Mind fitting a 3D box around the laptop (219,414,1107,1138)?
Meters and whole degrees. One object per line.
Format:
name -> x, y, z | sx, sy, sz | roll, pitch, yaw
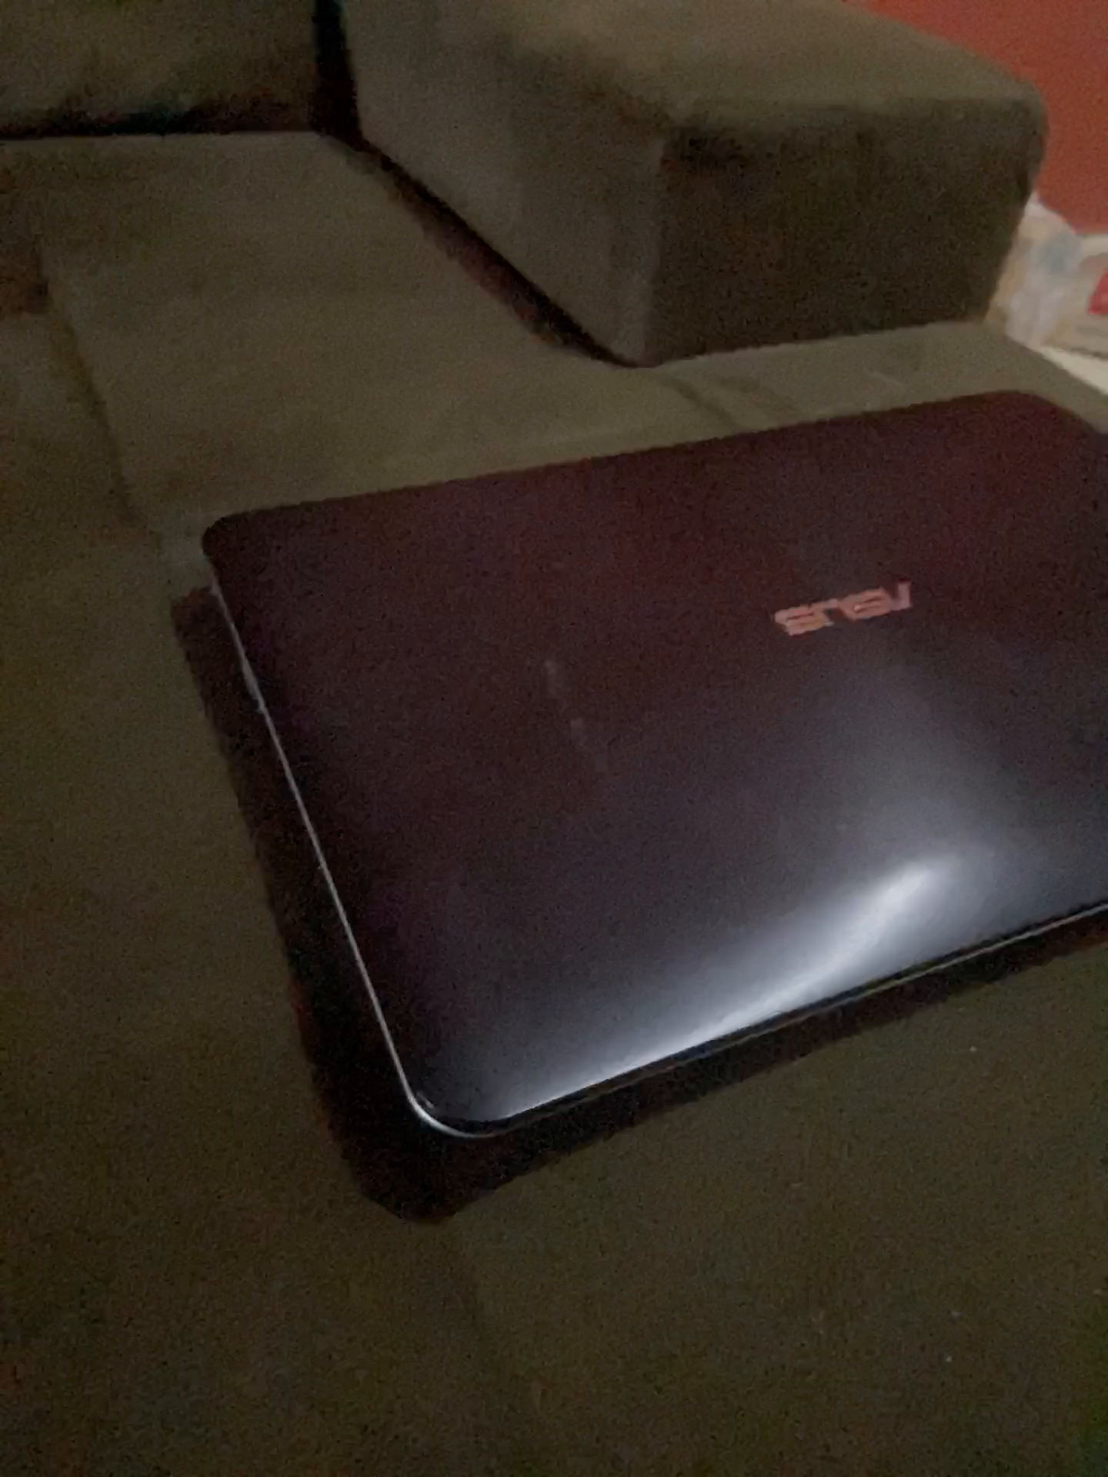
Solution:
laptop -> 0.102, -0.032, 0.375 | 0.370, 0.004, 0.235 | -13, 44, -20
